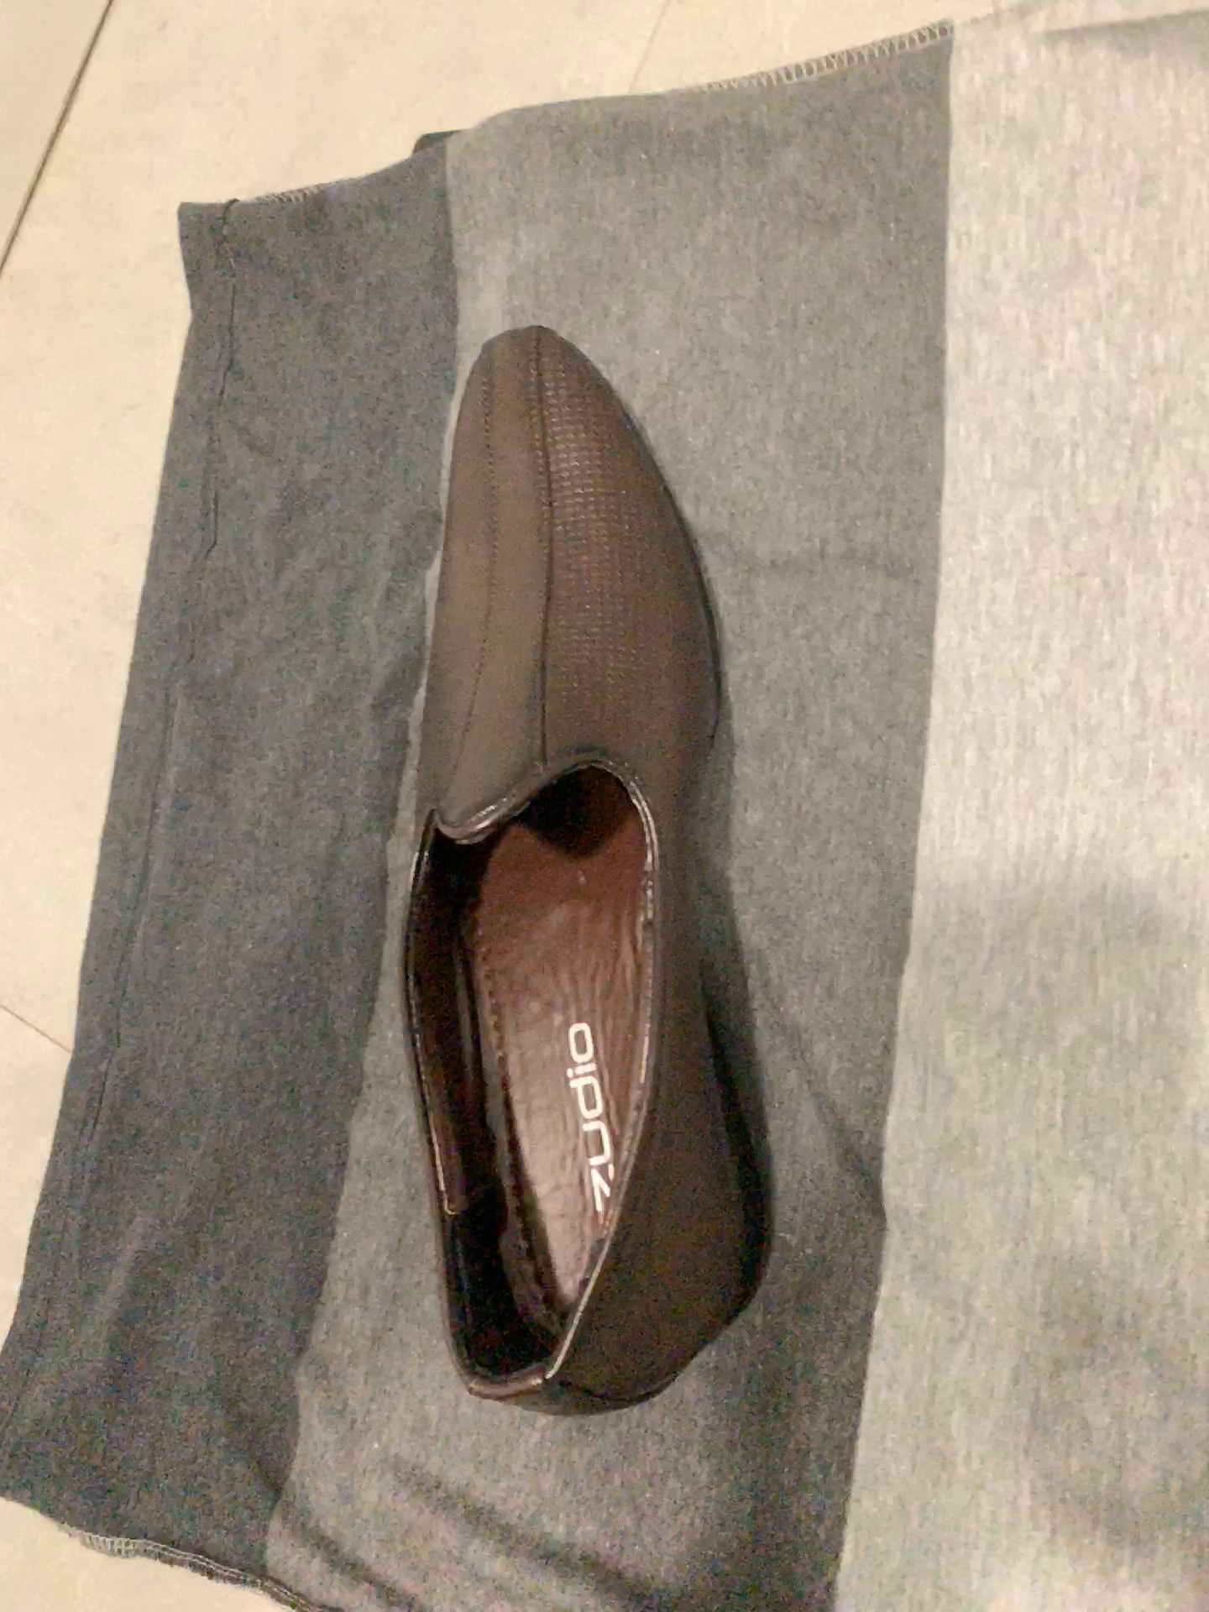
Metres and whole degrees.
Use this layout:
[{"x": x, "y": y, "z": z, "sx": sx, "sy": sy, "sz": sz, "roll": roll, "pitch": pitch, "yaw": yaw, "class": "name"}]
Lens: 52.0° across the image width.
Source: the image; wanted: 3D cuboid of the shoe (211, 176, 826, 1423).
[{"x": -0.025, "y": 0.001, "z": 0.323, "sx": 0.100, "sy": 0.100, "sz": 0.270, "roll": -12, "pitch": 74, "yaw": 23, "class": "shoe"}]
